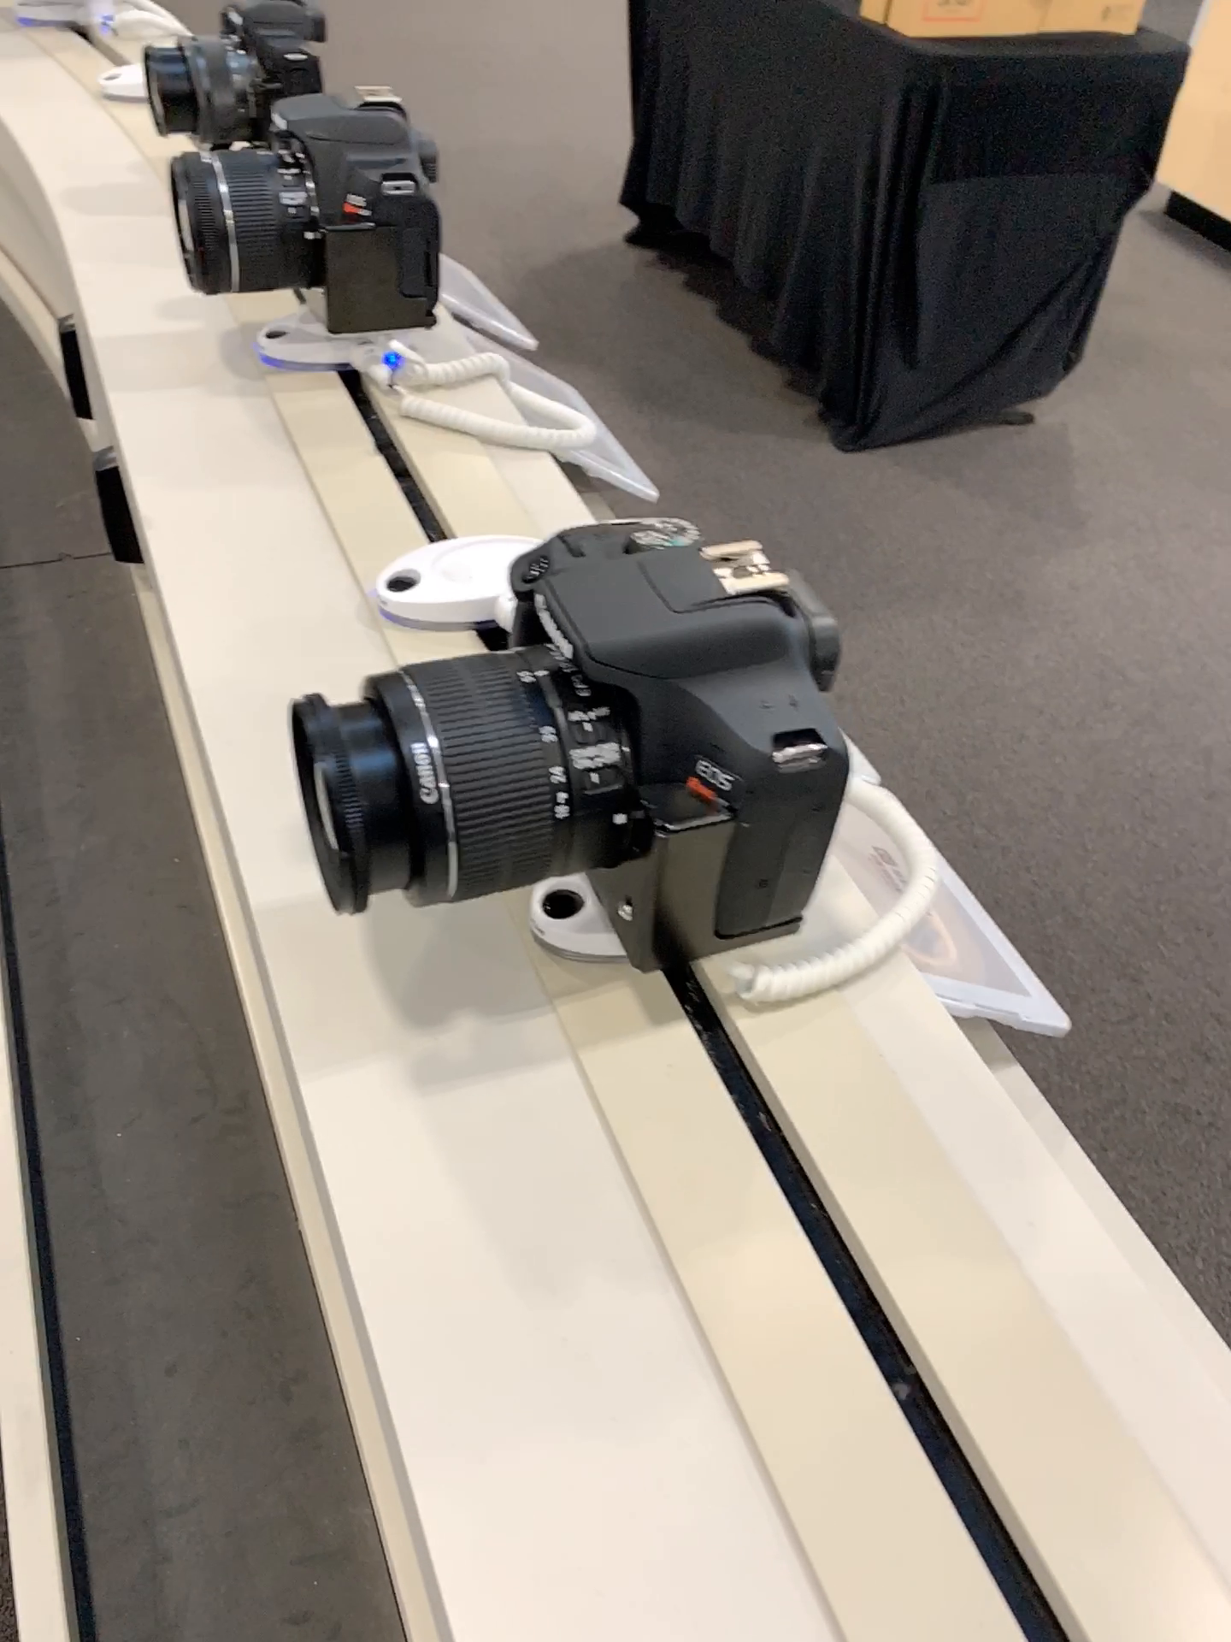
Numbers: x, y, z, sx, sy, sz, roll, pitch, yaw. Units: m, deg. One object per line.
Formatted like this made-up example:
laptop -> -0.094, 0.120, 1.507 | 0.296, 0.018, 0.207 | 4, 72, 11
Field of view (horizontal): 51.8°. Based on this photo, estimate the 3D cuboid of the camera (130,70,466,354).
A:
camera -> -0.165, -0.325, 0.669 | 0.135, 0.089, 0.122 | -17, 50, -22

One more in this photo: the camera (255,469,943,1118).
camera -> -0.014, -0.016, 0.374 | 0.145, 0.101, 0.134 | -13, 48, -19

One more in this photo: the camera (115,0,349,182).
camera -> -0.247, -0.485, 0.822 | 0.111, 0.088, 0.112 | -17, 50, -22
